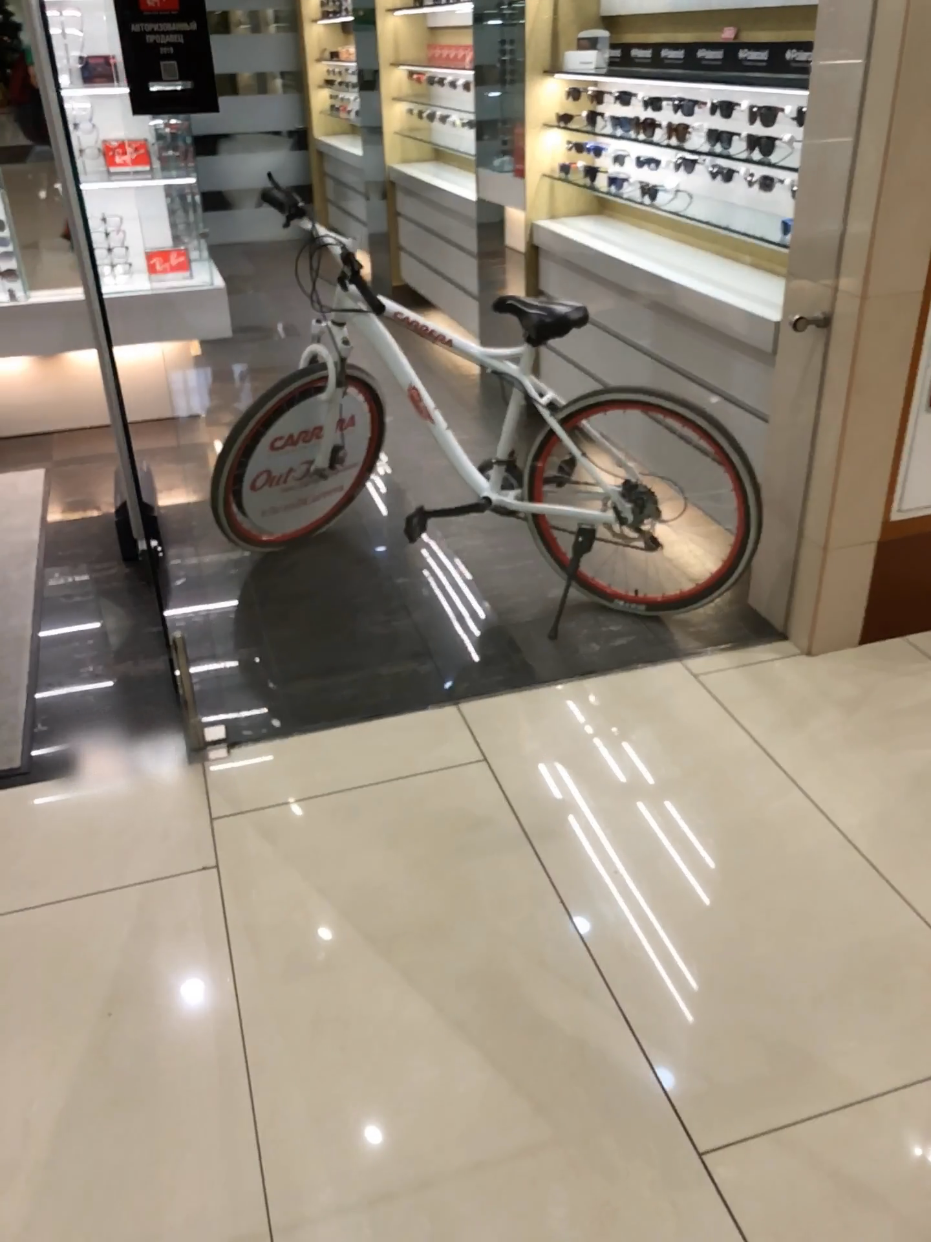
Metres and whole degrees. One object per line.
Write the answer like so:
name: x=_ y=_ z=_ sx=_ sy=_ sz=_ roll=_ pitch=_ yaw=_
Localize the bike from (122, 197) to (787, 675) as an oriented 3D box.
bike: x=0.007 y=-0.446 z=2.560 sx=1.381 sy=0.947 sz=0.595 roll=3 pitch=28 yaw=16
